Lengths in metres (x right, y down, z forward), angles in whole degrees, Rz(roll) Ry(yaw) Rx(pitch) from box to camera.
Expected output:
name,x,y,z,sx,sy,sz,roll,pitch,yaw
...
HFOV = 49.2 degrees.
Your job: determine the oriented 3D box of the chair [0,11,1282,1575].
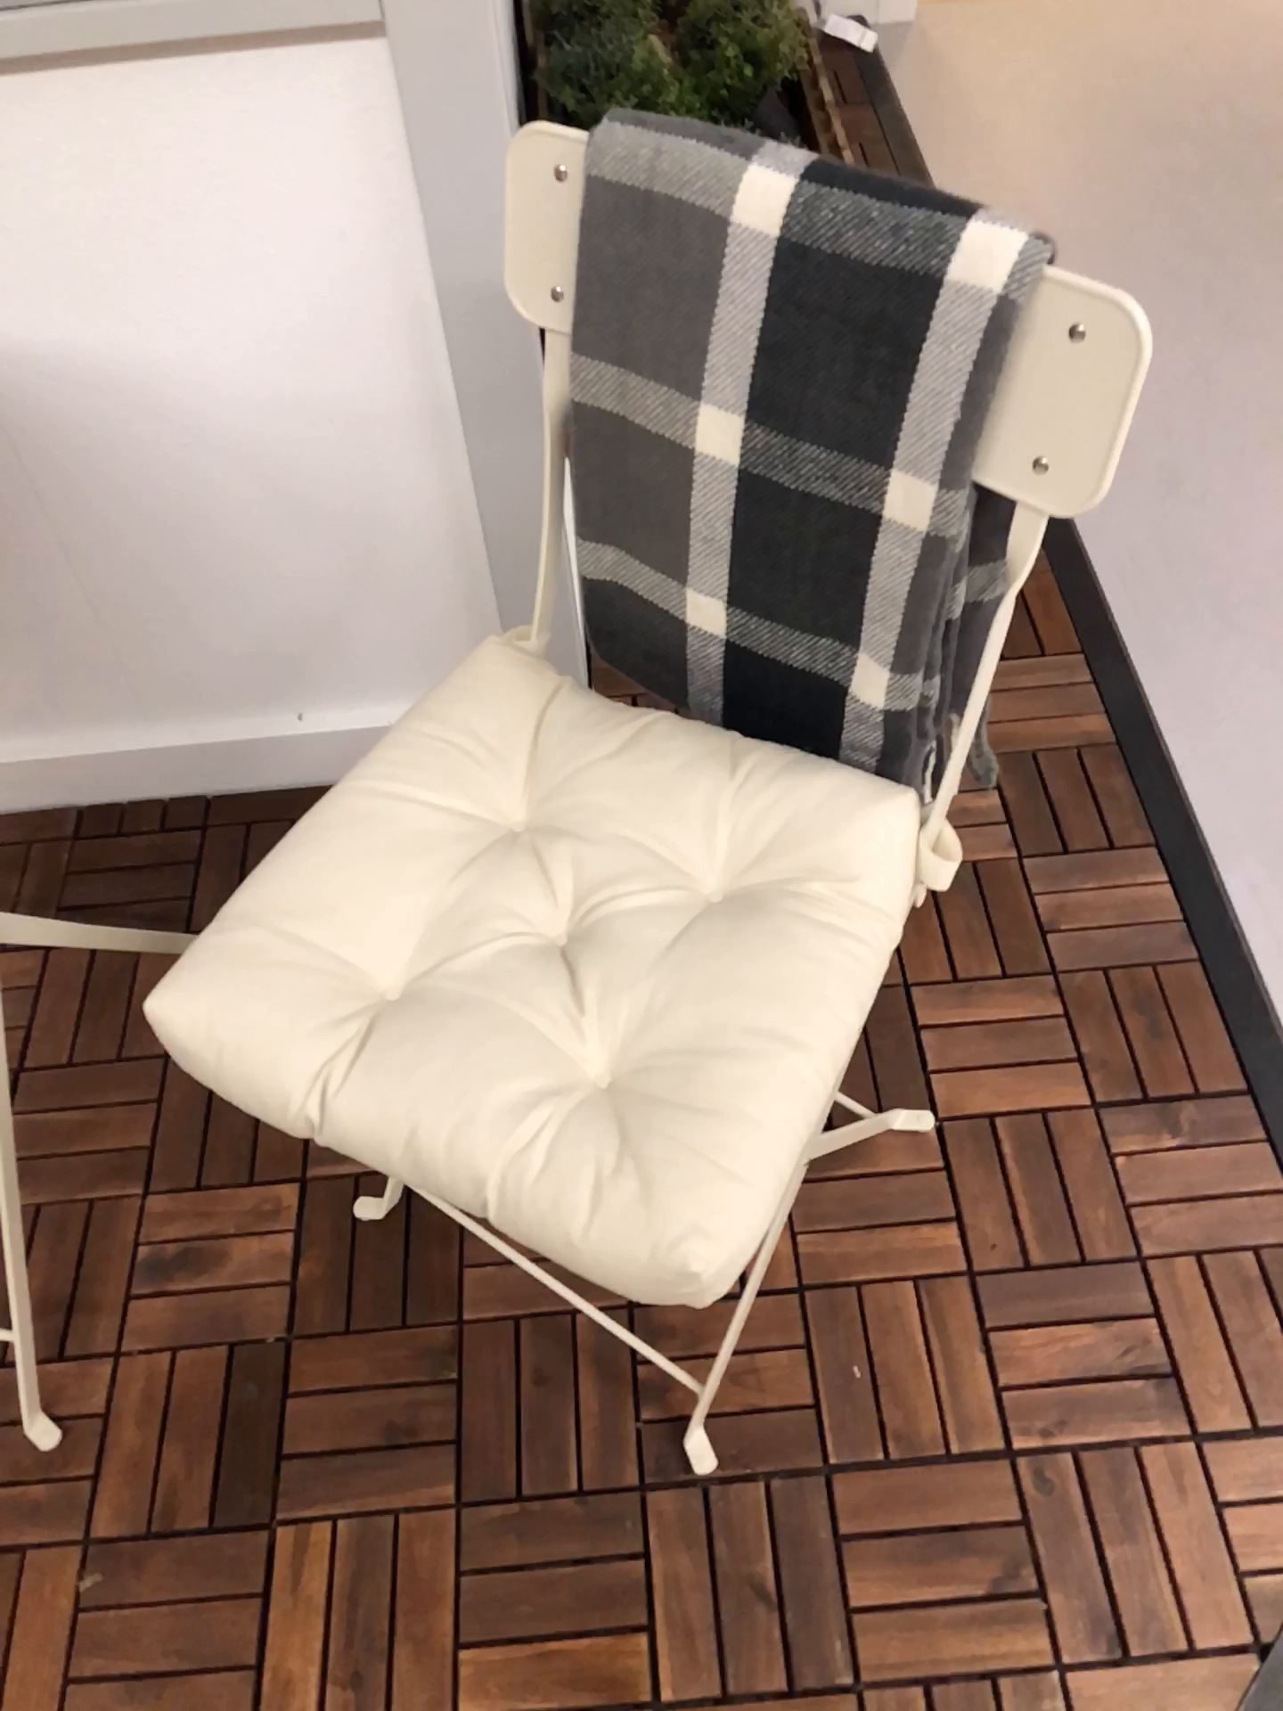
name,x,y,z,sx,sy,sz,roll,pitch,yaw
chair,-0.009,-0.004,0.904,0.491,0.736,0.511,28,59,24
